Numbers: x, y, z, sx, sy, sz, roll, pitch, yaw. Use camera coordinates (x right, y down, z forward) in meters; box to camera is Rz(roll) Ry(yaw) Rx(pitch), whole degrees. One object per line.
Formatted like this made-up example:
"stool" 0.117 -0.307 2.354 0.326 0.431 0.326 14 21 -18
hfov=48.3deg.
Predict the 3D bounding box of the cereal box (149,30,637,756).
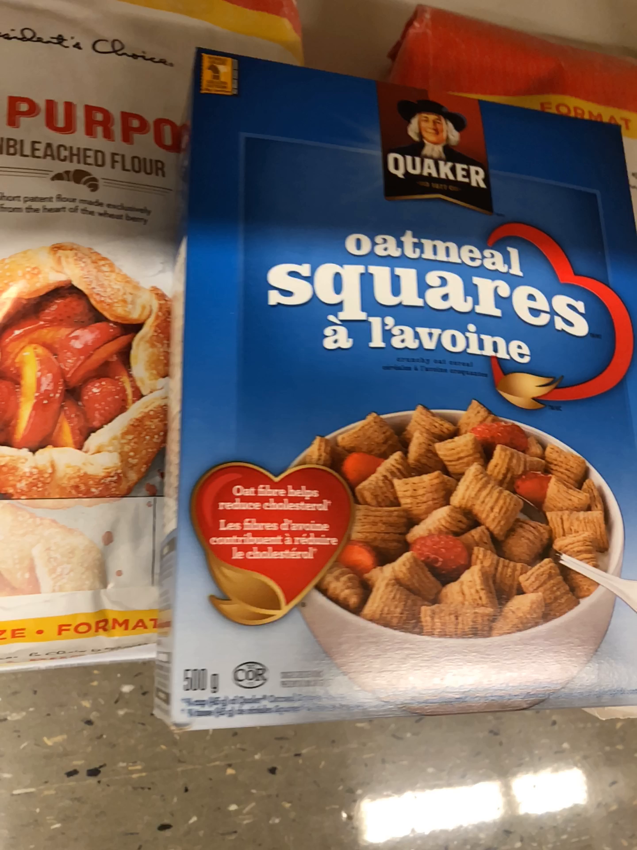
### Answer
"cereal box" 0.043 -0.018 0.311 0.210 0.060 0.280 4 71 -15
